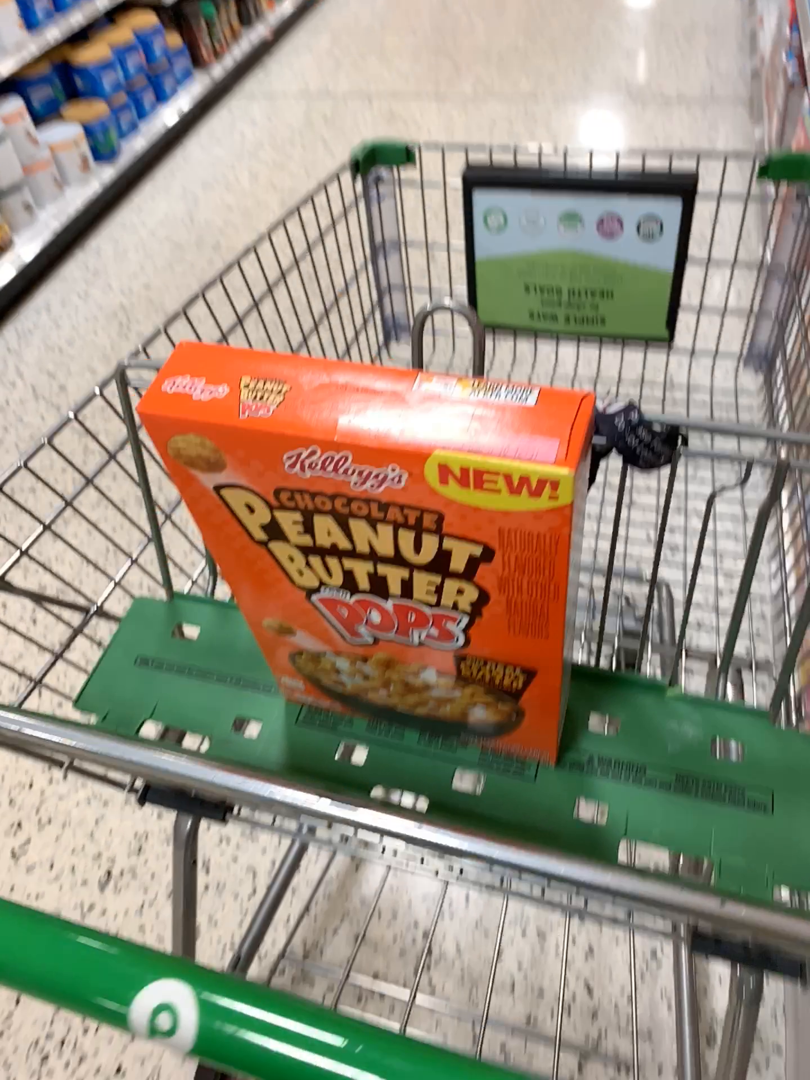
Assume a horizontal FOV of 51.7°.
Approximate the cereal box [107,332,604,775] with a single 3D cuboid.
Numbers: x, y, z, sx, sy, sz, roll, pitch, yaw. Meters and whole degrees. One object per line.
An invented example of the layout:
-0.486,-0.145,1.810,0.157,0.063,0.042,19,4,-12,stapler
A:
-0.008,0.027,0.456,0.200,0.287,0.050,10,55,15,cereal box
